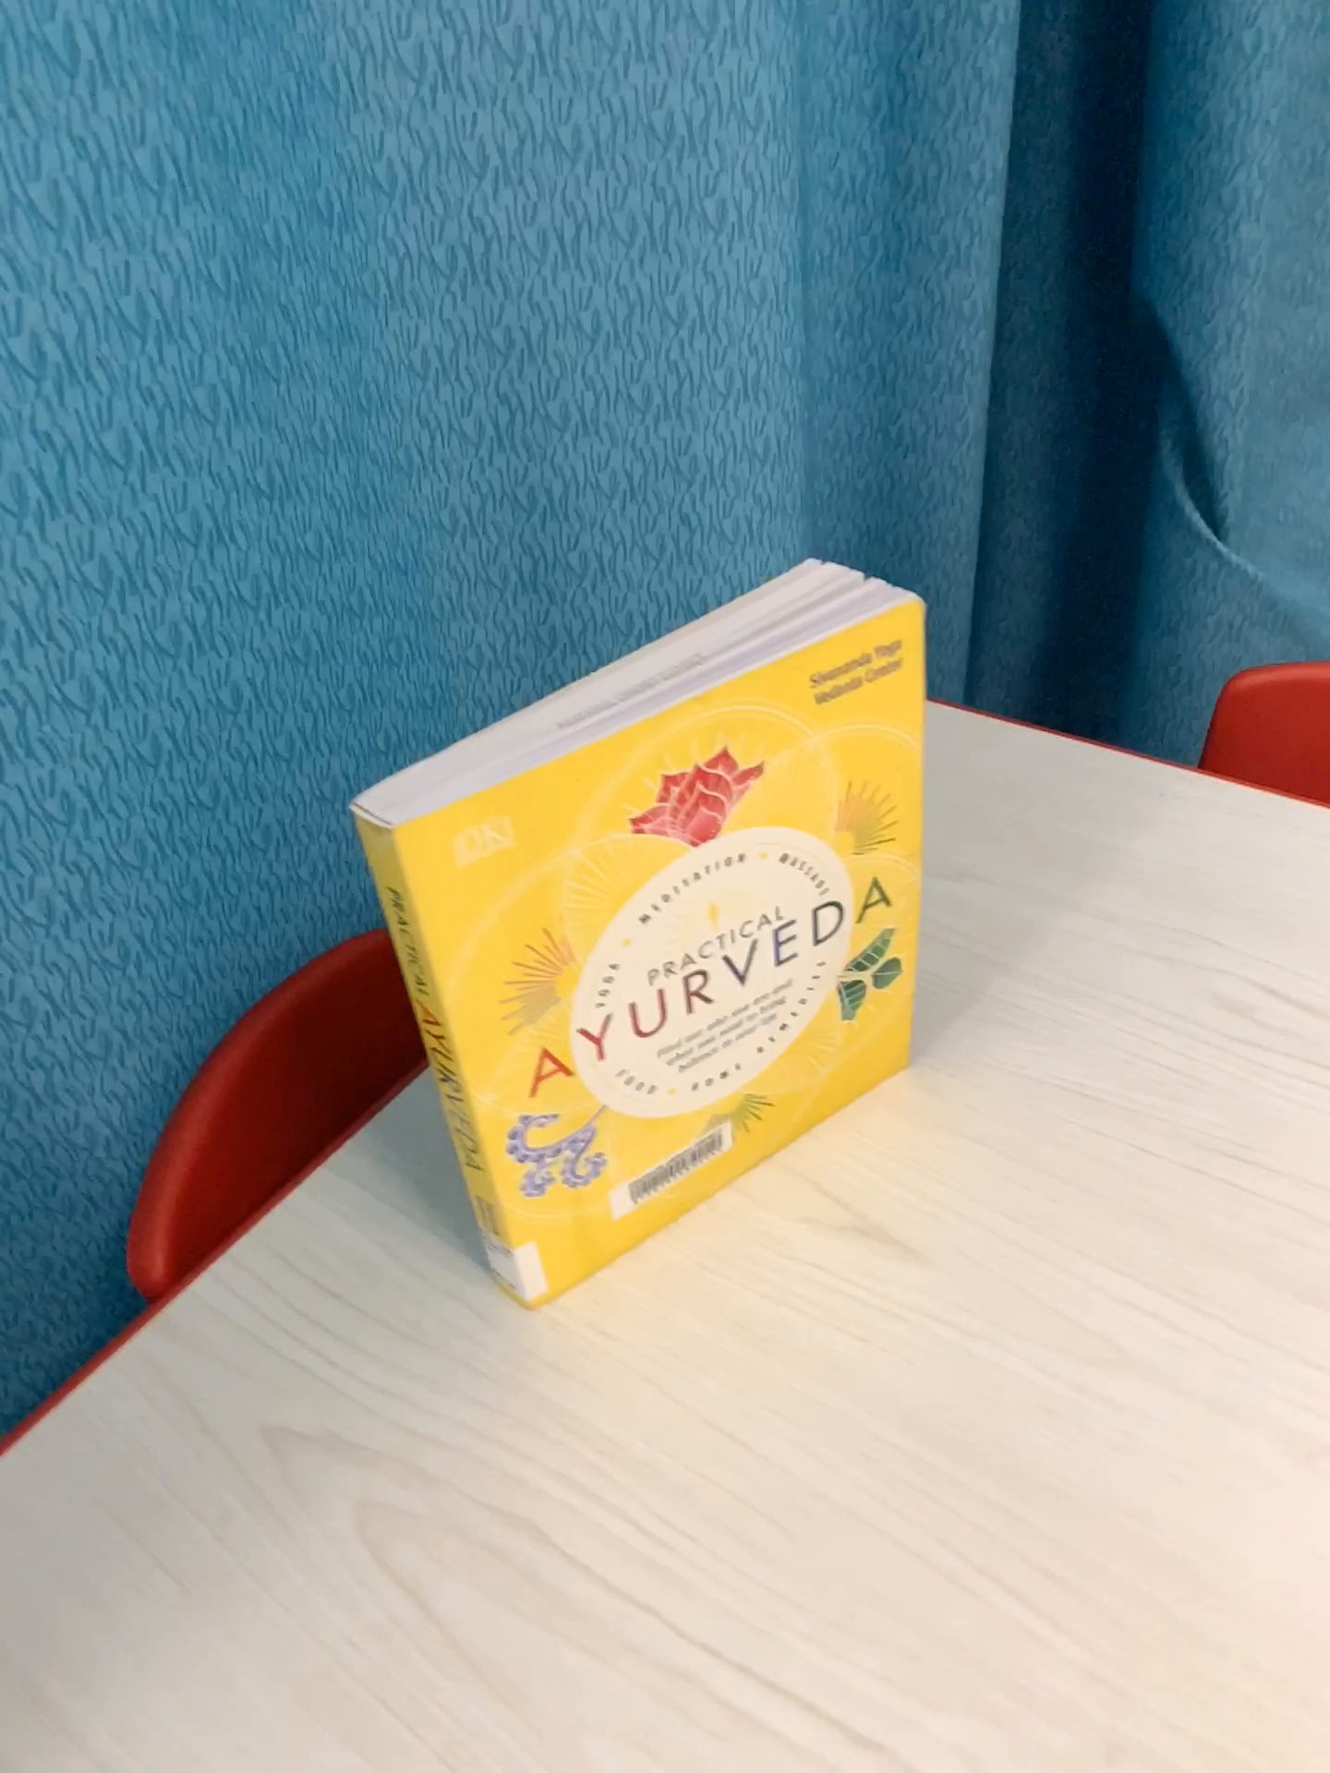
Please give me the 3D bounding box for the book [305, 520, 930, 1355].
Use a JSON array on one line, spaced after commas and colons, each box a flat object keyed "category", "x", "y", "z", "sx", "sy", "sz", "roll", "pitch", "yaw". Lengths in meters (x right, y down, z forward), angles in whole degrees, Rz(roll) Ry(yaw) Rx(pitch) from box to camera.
[{"category": "book", "x": 0.004, "y": 0.025, "z": 0.513, "sx": 0.210, "sy": 0.259, "sz": 0.050, "roll": -29, "pitch": 43, "yaw": -25}]
